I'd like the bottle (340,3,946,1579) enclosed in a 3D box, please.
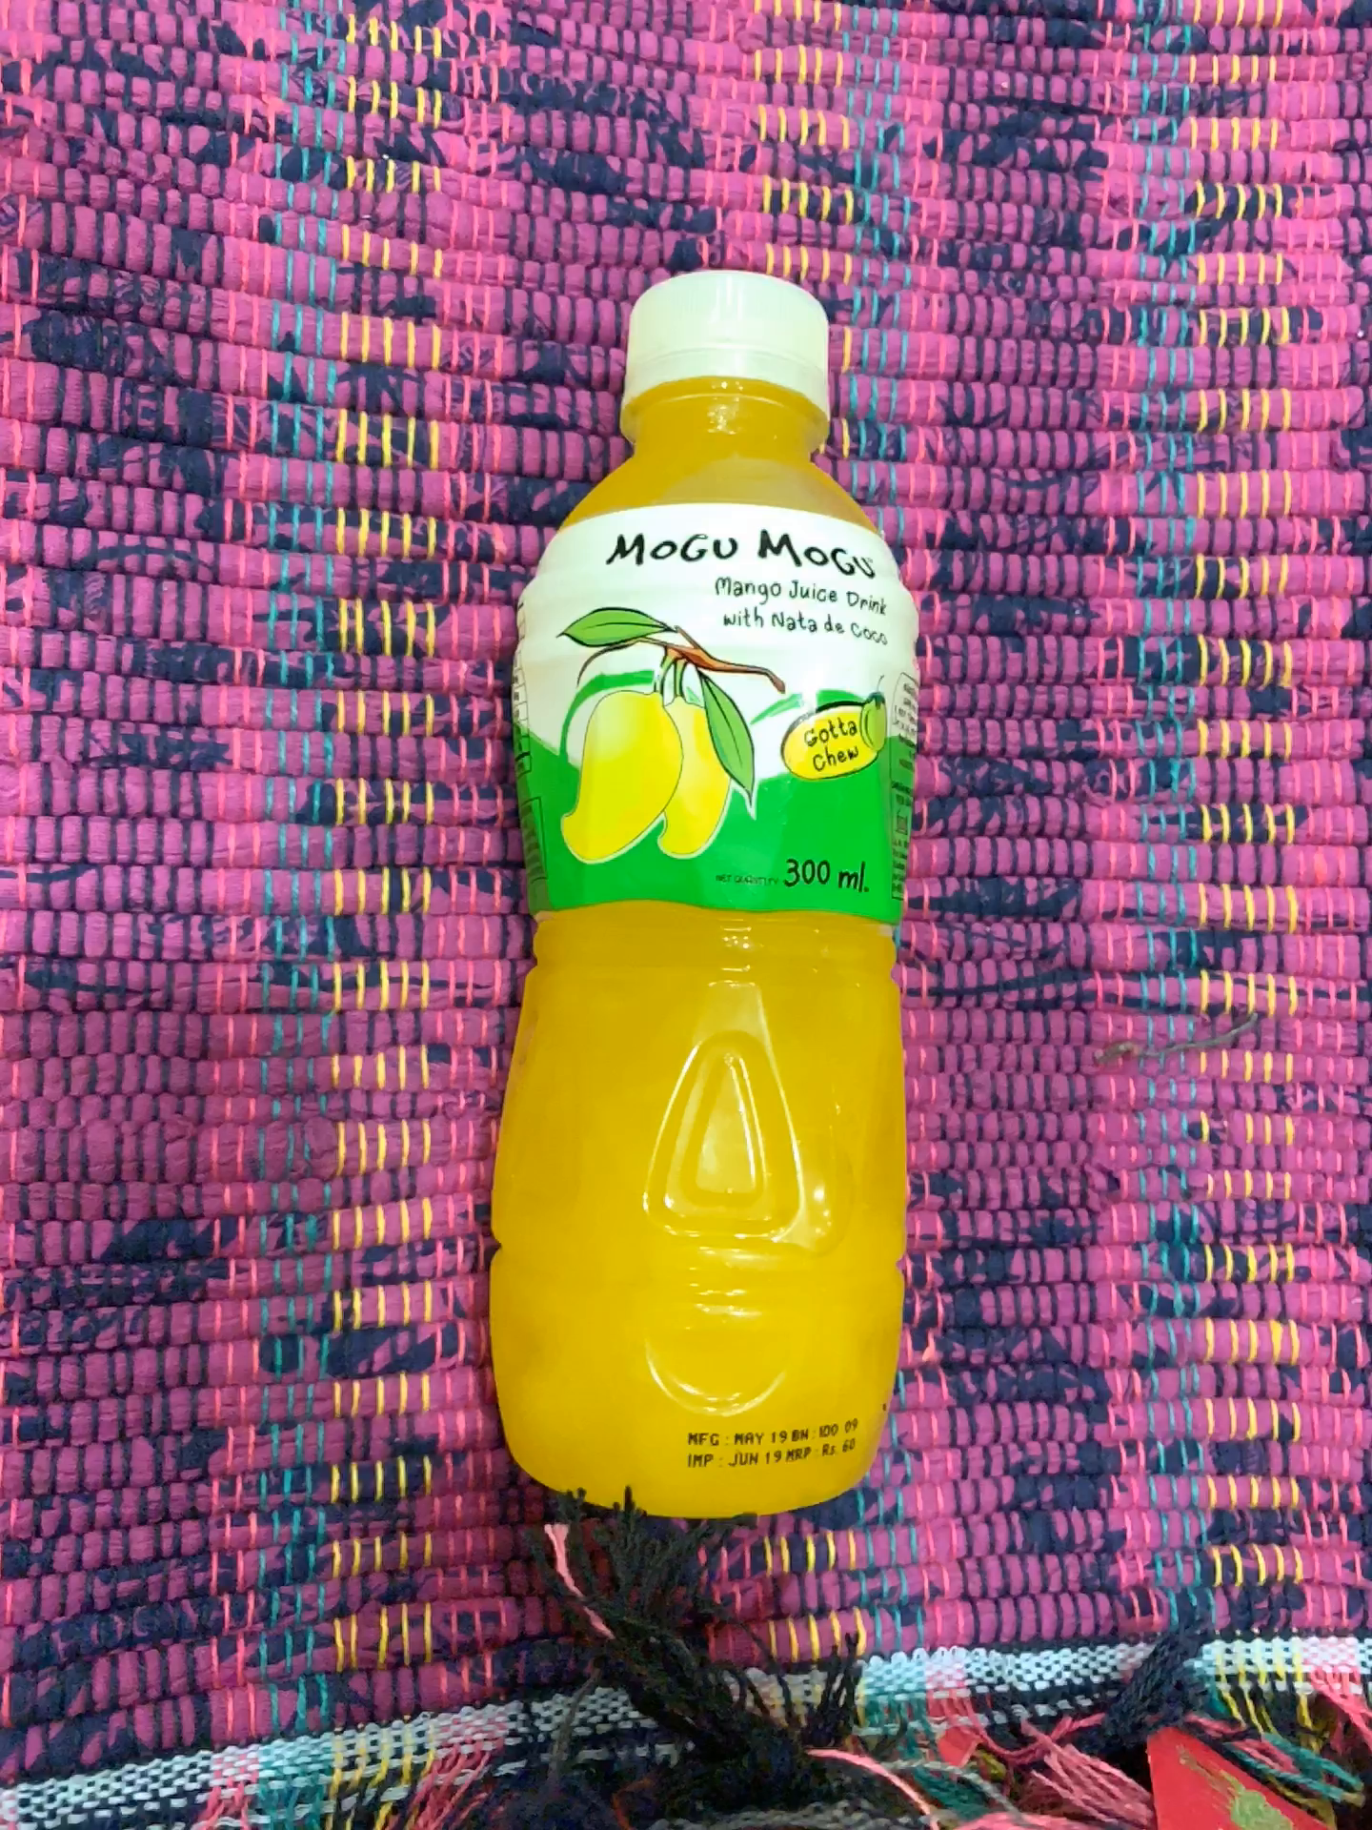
[{"bbox_3d":[-0.008,-0.013,0.181,0.060,0.060,0.160,2,86,-17],"label":"bottle"}]
